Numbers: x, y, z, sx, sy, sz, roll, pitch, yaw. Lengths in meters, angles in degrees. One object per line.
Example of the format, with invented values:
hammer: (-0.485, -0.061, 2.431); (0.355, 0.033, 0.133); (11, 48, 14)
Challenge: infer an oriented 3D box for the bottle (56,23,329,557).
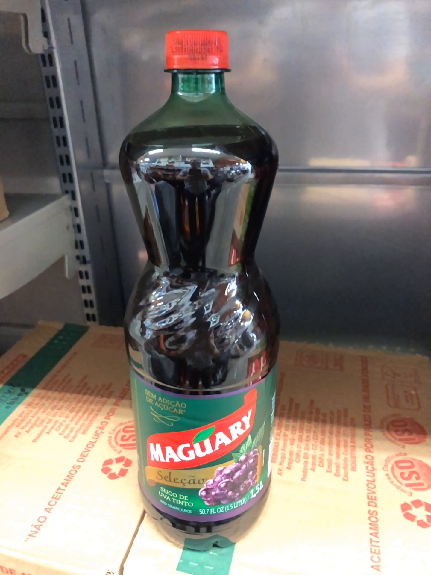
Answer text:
bottle: (-0.008, 0.017, 0.274); (0.100, 0.288, 0.081); (-2, 25, -2)
